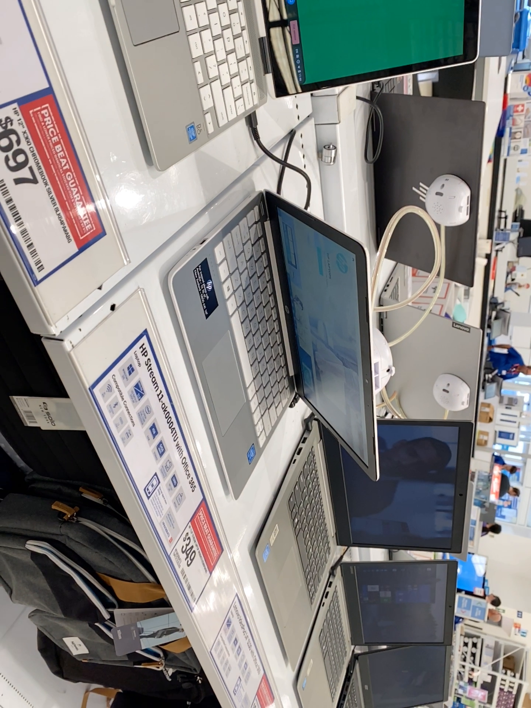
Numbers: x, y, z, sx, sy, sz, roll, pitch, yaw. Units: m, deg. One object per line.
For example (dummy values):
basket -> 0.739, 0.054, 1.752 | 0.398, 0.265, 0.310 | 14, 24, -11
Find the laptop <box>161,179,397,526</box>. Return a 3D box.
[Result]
laptop -> 0.038, -0.004, 0.549 | 0.181, 0.139, 0.277 | -56, 144, -45

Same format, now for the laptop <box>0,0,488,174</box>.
laptop -> 0.037, -0.312, 0.389 | 0.297, 0.189, 0.258 | -58, 146, -45

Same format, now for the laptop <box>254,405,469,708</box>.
laptop -> 0.166, 0.299, 0.809 | 0.276, 0.212, 0.327 | -58, 146, -44
